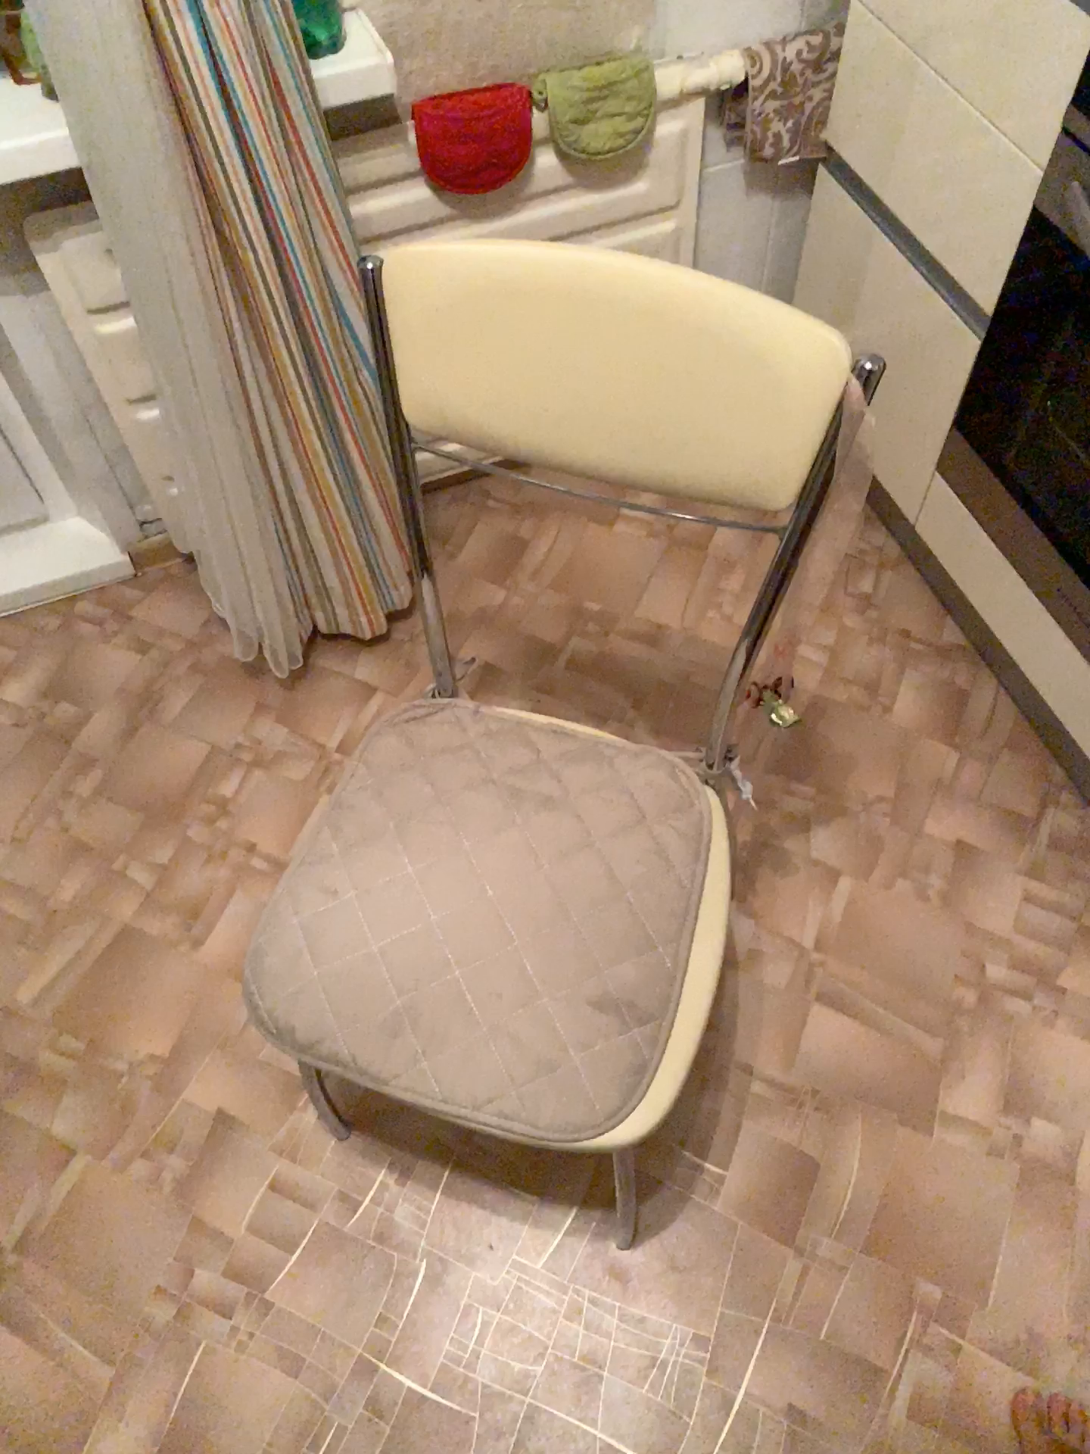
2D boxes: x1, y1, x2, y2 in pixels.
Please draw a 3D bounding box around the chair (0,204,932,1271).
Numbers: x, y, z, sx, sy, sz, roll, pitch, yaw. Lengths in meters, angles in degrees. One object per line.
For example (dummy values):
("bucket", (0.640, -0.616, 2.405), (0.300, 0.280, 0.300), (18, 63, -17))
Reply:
("chair", (-0.002, 0.105, 0.988), (0.384, 0.854, 0.493), (16, 59, 11))
